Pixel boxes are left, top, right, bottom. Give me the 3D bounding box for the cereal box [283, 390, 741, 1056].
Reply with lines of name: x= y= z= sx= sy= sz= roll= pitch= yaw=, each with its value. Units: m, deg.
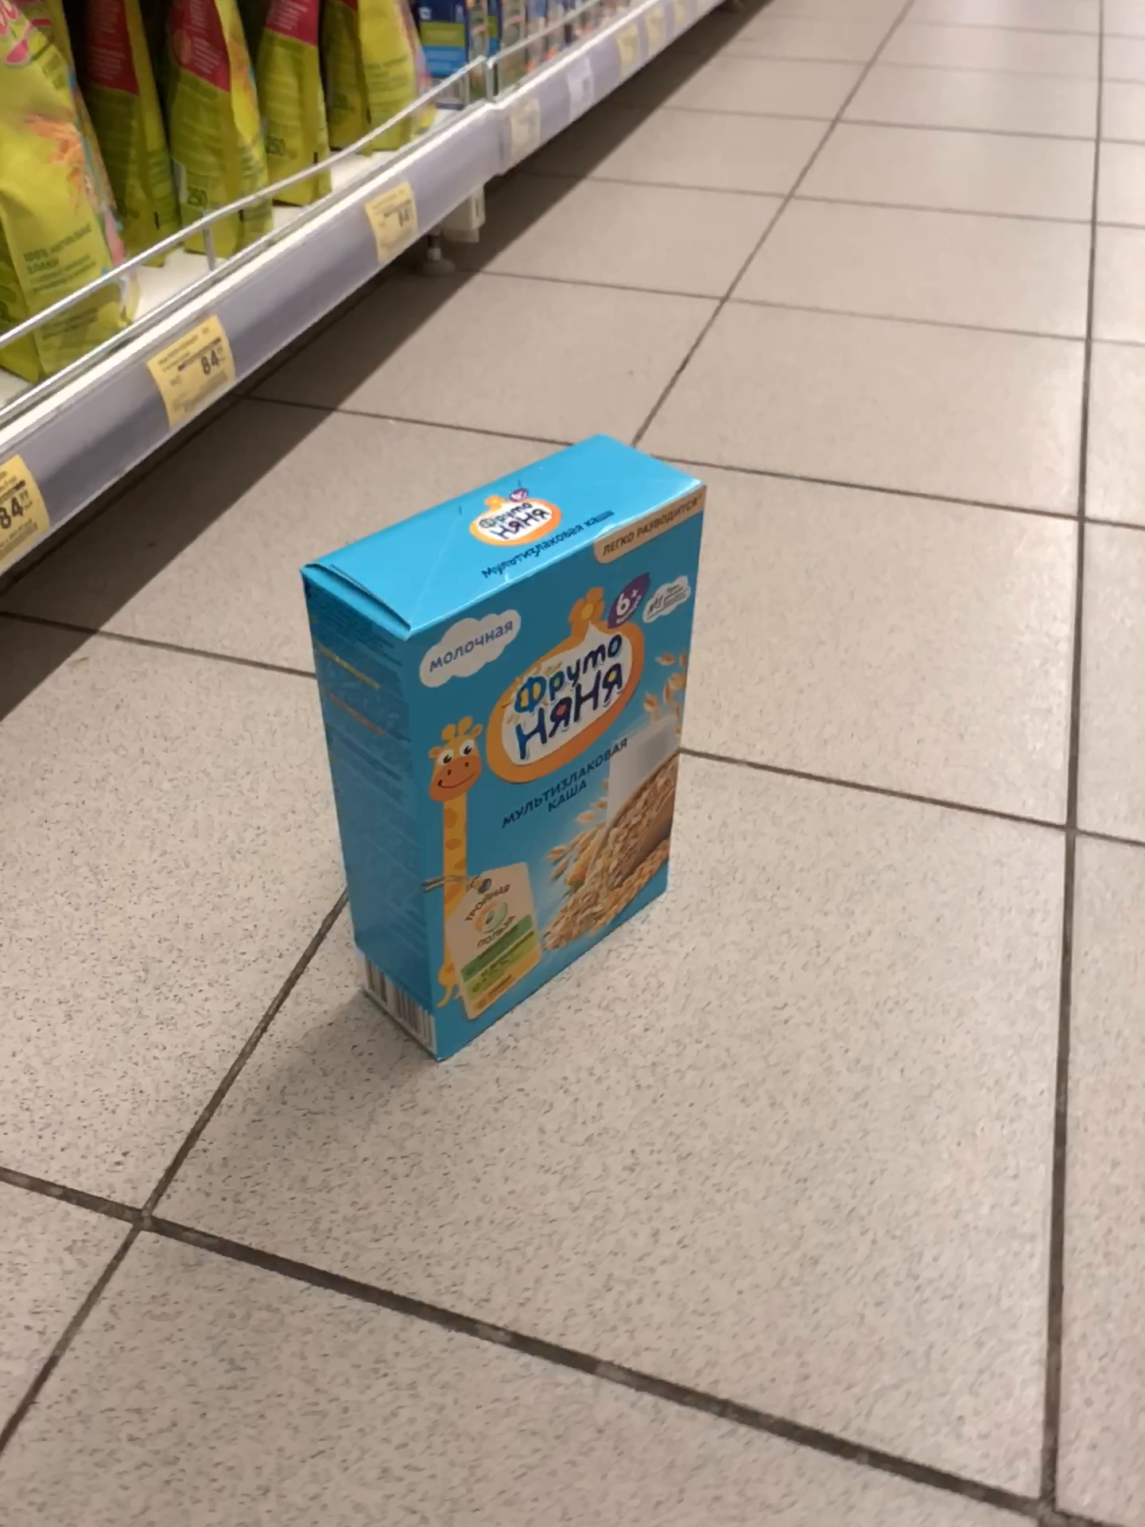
cereal box: x=-0.017 y=-0.012 z=0.461 sx=0.140 sy=0.199 sz=0.060 roll=-33 pitch=52 yaw=-33
